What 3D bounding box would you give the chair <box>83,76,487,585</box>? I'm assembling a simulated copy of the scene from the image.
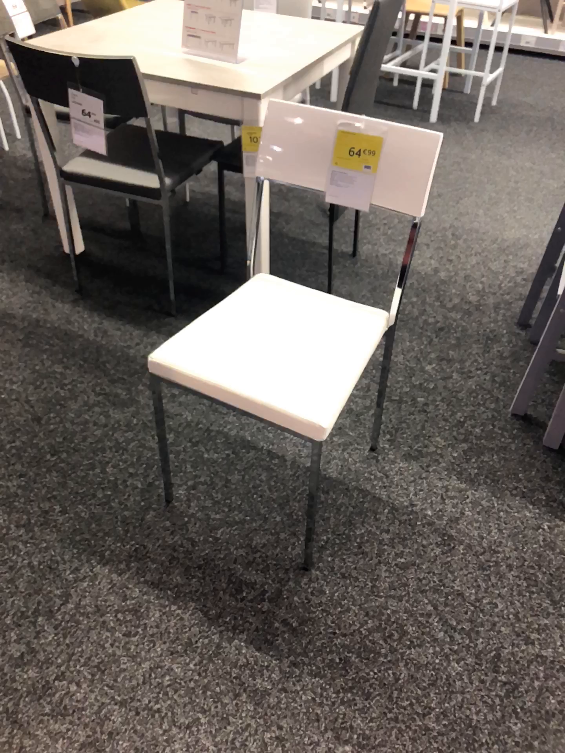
[{"bbox_3d":[0.028,-0.099,1.324,0.500,0.815,0.544,19,44,19],"label":"chair"}]
